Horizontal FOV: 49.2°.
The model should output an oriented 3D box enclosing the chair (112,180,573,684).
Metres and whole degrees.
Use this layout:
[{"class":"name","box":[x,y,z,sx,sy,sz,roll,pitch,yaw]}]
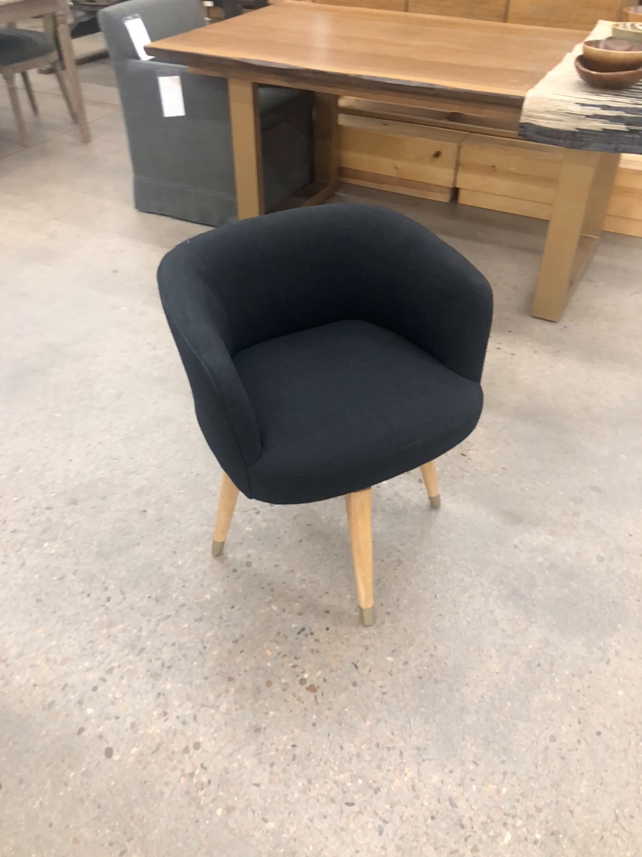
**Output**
[{"class":"chair","box":[-0.001,-0.027,1.431,0.602,0.669,0.605,-16,42,-18]}]
